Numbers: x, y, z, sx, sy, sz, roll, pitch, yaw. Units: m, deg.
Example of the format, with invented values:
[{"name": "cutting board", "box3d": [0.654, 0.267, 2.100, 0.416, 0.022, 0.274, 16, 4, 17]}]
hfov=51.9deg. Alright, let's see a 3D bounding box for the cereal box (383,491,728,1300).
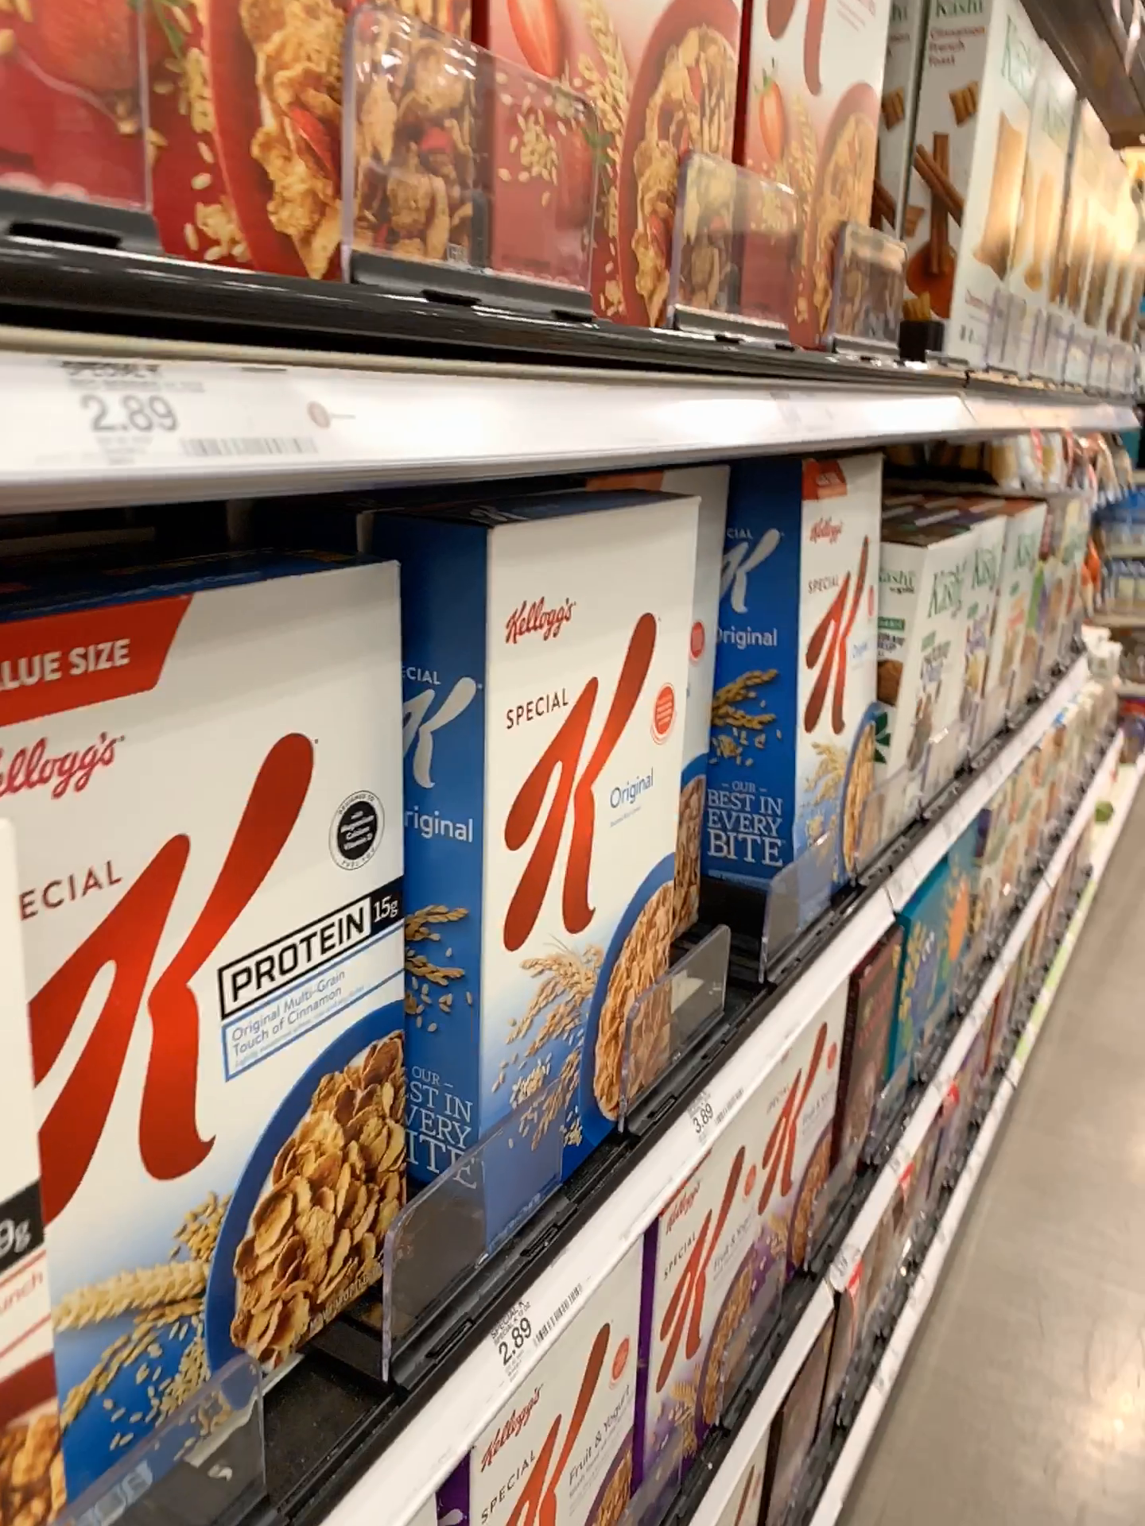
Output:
[{"name": "cereal box", "box3d": [-0.001, 0.044, 0.543, 0.060, 0.319, 0.191, 10, 18, 27]}]
